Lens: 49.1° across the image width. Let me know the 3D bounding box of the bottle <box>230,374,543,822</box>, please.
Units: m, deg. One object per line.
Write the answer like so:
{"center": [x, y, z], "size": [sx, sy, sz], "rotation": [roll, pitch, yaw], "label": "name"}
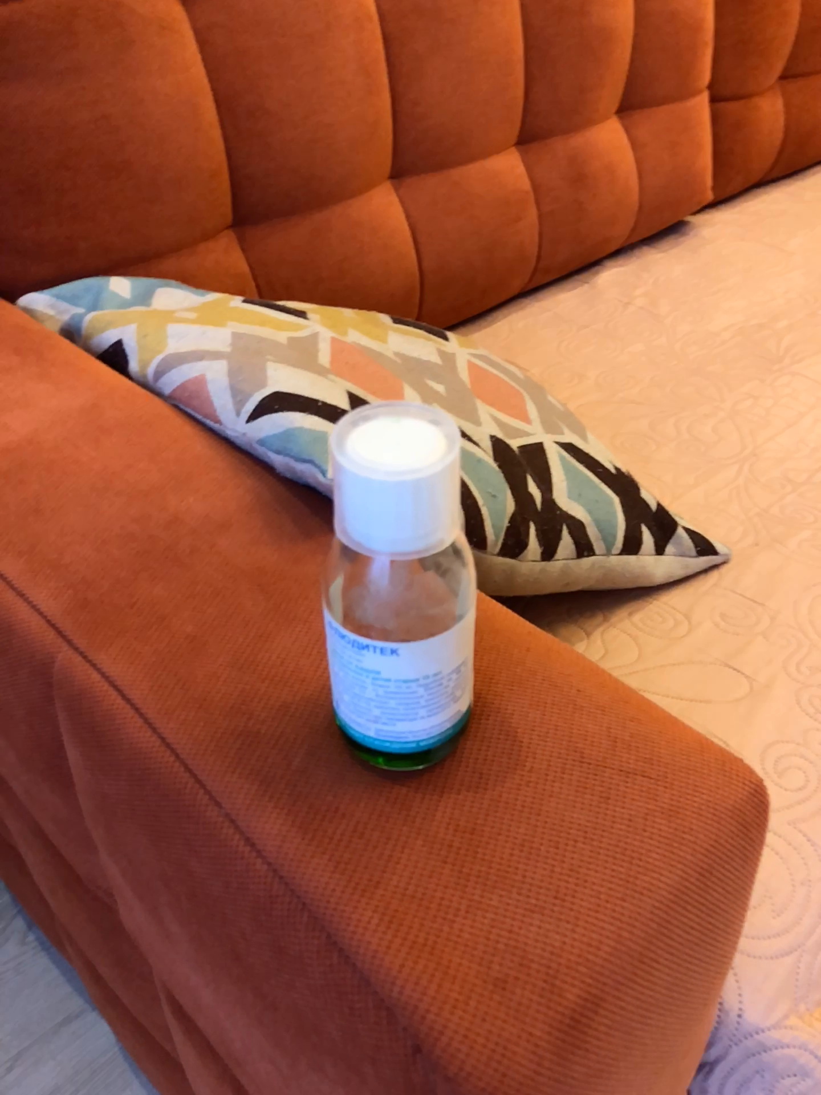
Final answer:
{"center": [-0.005, 0.015, 0.275], "size": [0.060, 0.106, 0.060], "rotation": [-1, 36, 1], "label": "bottle"}
